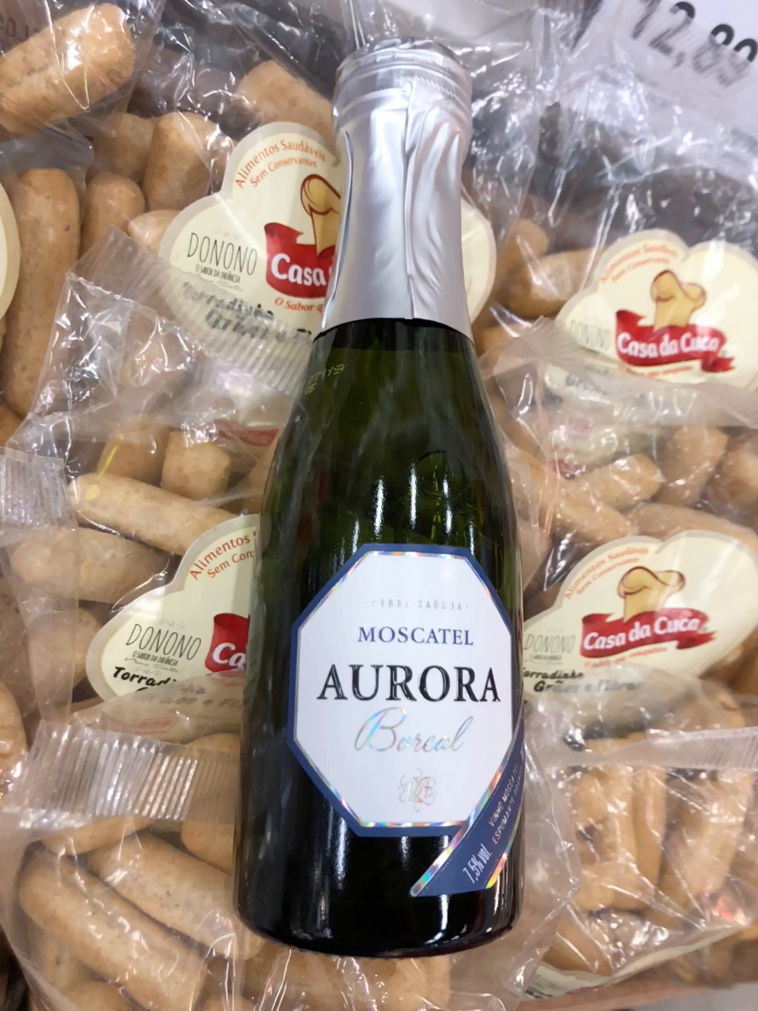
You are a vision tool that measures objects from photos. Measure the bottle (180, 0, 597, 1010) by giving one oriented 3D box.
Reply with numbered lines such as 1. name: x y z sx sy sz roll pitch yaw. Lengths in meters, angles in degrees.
1. bottle: 0.003 -0.015 0.172 0.060 0.050 0.200 6 82 -29
